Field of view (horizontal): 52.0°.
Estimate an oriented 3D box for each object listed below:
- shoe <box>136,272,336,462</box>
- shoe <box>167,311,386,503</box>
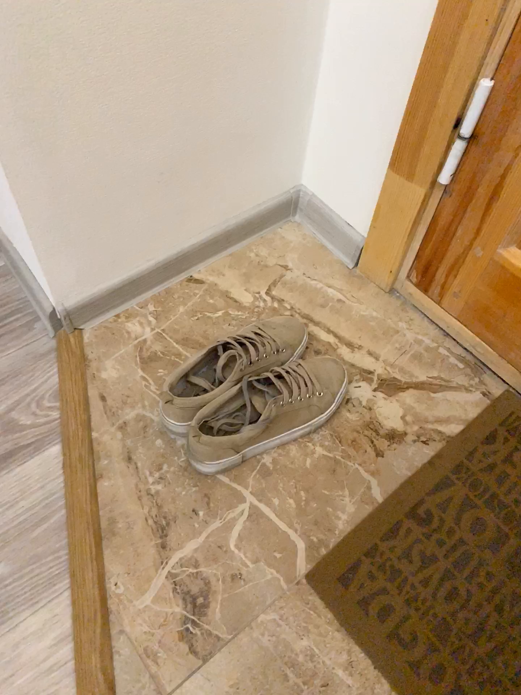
[{"bbox_3d":[-0.026,0.019,0.683,0.240,0.100,0.090,-36,65,-26],"label":"shoe"},{"bbox_3d":[0.020,0.067,0.642,0.240,0.100,0.090,-28,61,-22],"label":"shoe"}]
